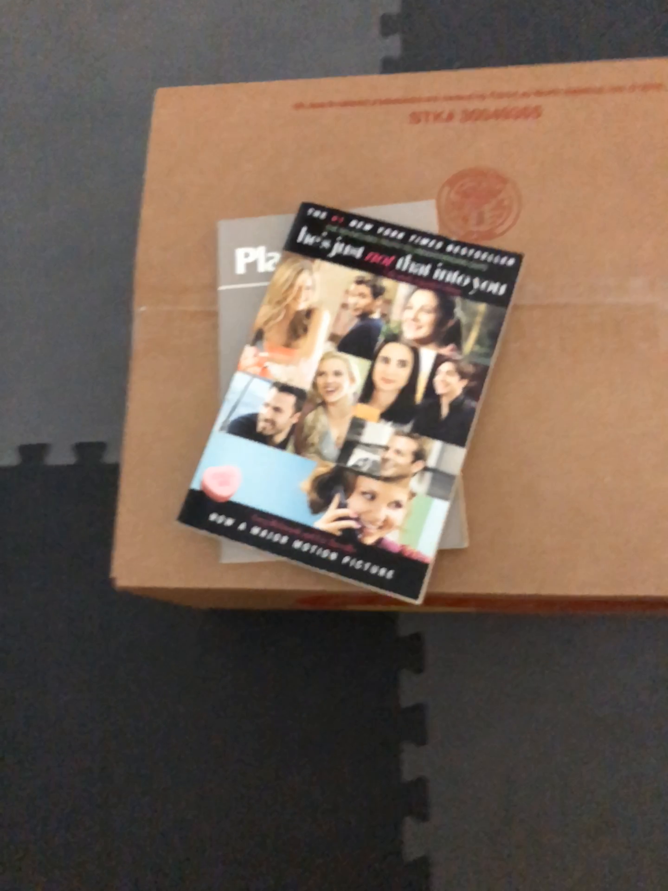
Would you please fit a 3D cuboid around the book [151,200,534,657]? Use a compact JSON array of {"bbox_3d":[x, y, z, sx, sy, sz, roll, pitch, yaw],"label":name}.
[{"bbox_3d":[0.008,-0.020,0.415,0.150,0.010,0.230,16,77,11],"label":"book"}]
